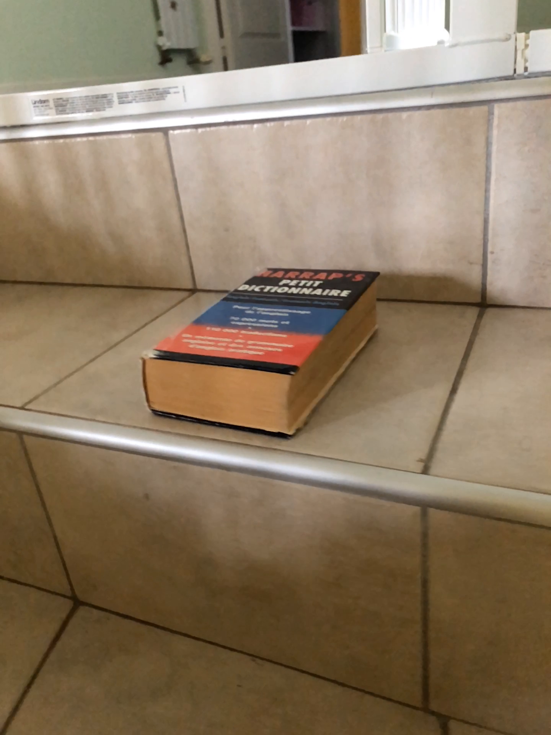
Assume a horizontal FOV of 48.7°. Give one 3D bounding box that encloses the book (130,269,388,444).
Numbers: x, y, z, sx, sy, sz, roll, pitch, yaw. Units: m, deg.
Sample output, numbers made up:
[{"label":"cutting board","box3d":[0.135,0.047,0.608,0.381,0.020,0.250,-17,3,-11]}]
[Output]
[{"label":"book","box3d":[0.000,-0.021,0.456,0.118,0.050,0.186,6,27,25]}]
